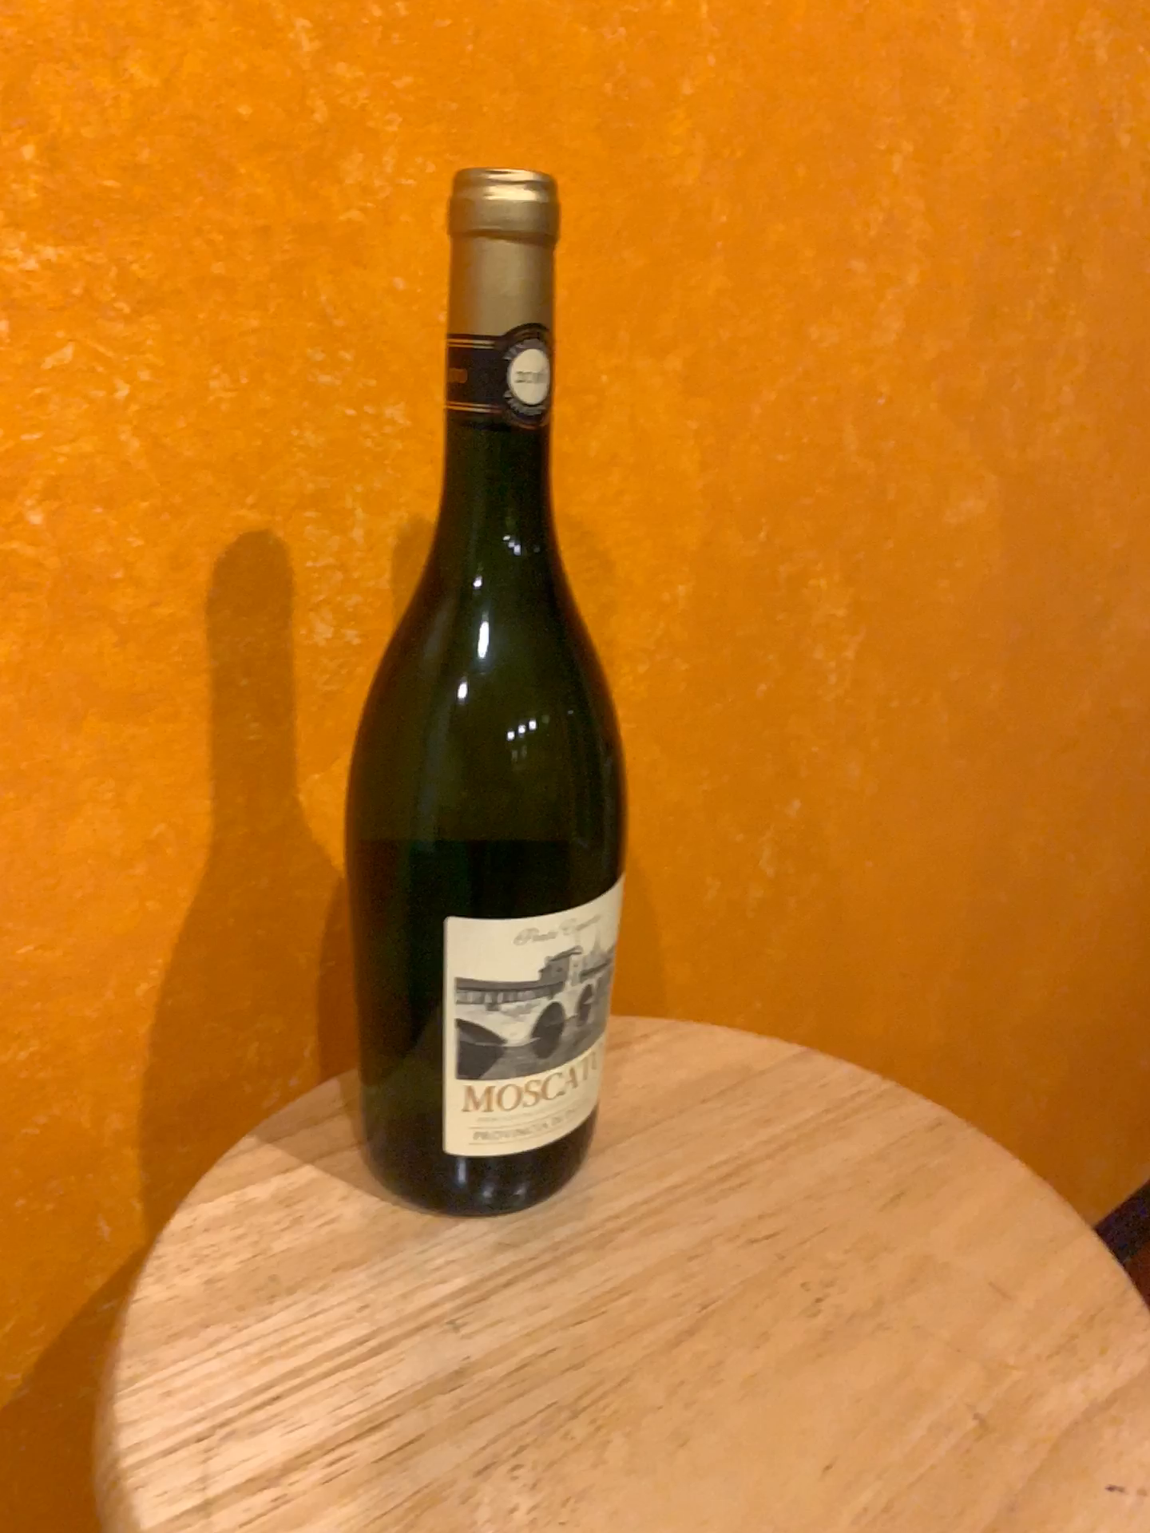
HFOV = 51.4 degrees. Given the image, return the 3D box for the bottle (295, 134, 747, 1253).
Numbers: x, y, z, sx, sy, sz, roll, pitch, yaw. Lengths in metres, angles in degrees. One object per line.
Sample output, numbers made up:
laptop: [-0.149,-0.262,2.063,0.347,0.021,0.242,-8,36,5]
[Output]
bottle: [-0.023,-0.013,0.347,0.090,0.289,0.070,-9,23,-32]
